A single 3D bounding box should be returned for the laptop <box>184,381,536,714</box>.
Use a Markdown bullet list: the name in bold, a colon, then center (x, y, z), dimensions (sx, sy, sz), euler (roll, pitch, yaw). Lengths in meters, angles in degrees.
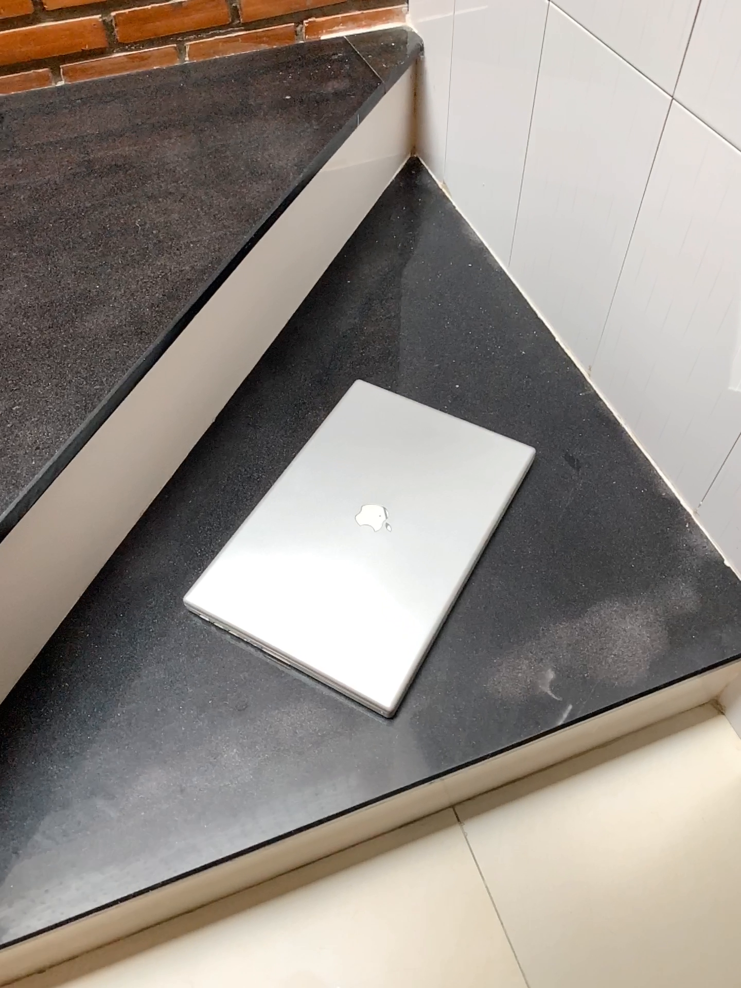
- **laptop**: center (0.004, 0.041, 1.029), dimensions (0.292, 0.013, 0.441), euler (25, 57, 15)
